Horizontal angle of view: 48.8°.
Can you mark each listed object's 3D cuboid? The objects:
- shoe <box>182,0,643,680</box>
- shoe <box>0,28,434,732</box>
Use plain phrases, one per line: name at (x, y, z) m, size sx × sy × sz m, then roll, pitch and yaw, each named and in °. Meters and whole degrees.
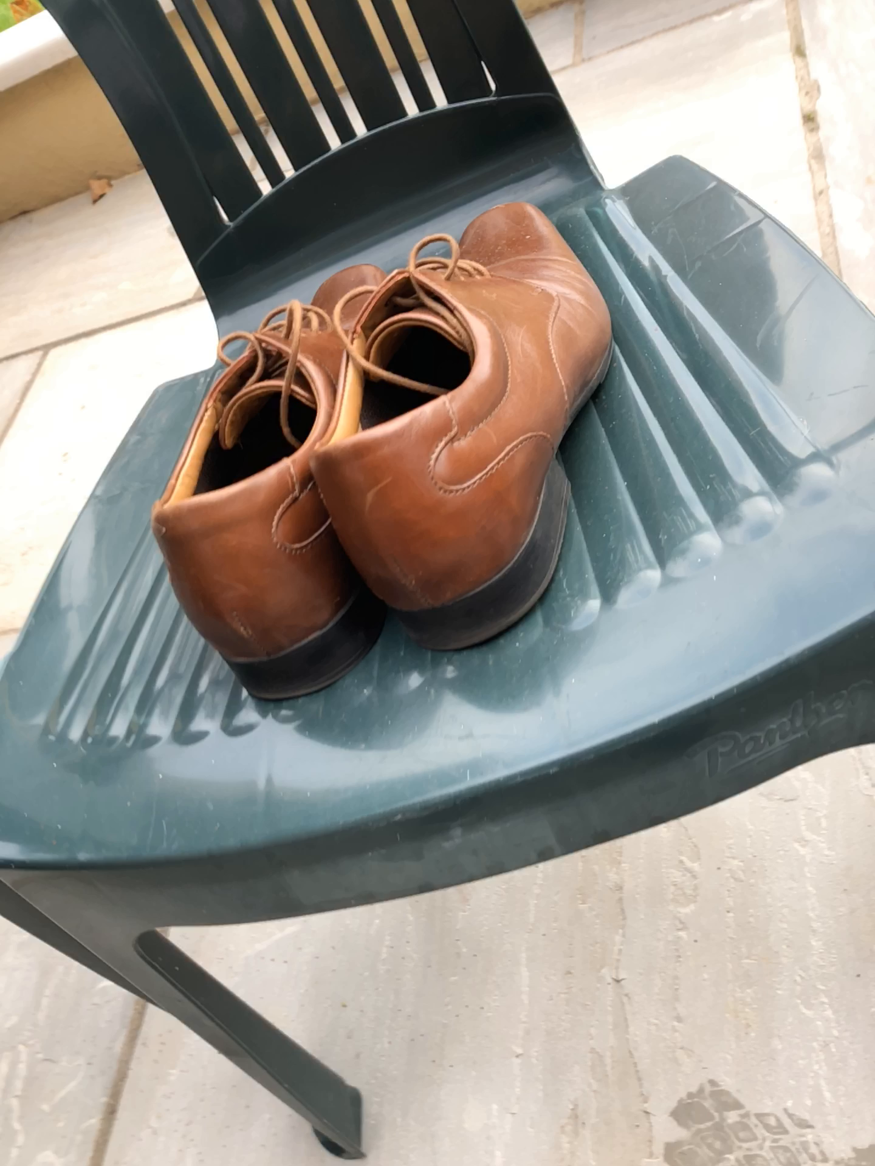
shoe at (0.007, -0.117, 0.389) m, size 0.110 × 0.109 × 0.281 m, roll -12°, pitch 50°, yaw 22°
shoe at (-0.078, -0.099, 0.416) m, size 0.110 × 0.109 × 0.291 m, roll -14°, pitch 49°, yaw 20°
